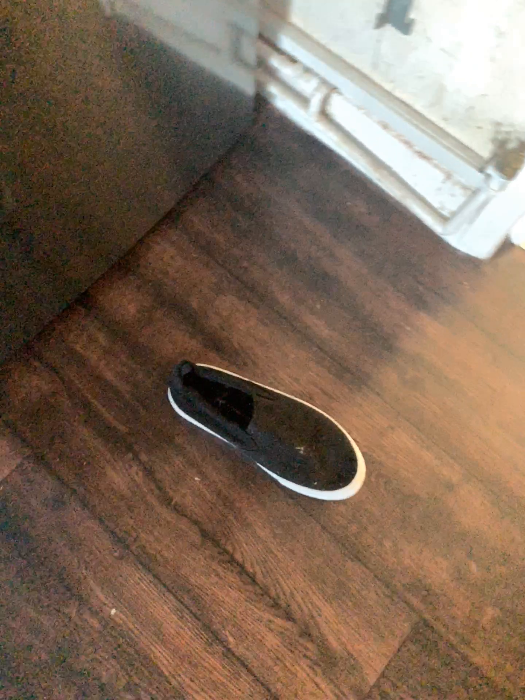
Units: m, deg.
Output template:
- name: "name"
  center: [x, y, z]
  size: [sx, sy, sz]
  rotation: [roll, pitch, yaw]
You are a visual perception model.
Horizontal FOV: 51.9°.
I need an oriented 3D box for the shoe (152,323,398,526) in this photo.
- name: "shoe"
  center: [0.011, 0.084, 0.596]
  size: [0.238, 0.080, 0.100]
  rotation: [31, 73, 7]
